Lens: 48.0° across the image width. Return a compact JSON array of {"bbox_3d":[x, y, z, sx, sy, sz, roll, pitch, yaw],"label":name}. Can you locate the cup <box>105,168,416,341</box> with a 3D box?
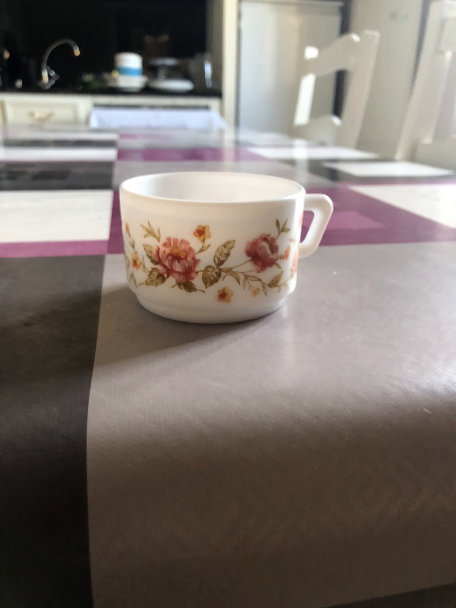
[{"bbox_3d":[0.005,-0.028,0.220,0.110,0.050,0.080,-4,21,-13],"label":"cup"}]
